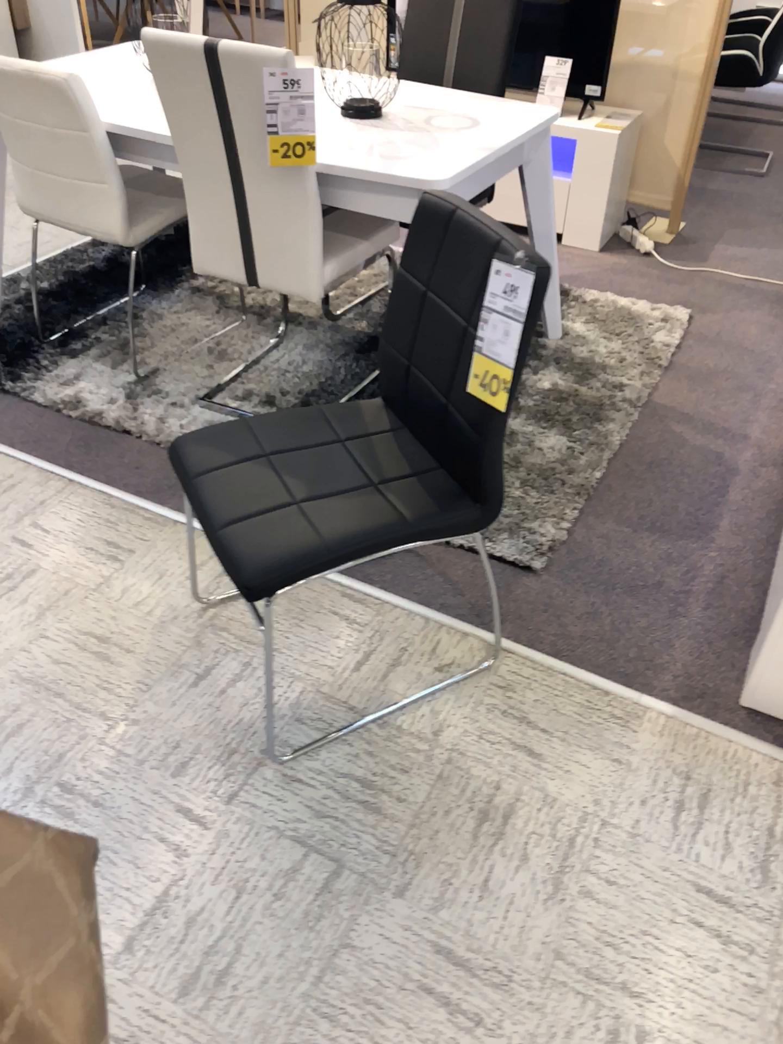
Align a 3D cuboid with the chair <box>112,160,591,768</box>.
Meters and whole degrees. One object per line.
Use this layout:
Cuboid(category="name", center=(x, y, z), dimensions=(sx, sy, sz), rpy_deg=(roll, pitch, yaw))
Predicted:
Cuboid(category="chair", center=(-0.089, -0.115, 1.524), dimensions=(0.537, 0.825, 0.521), rpy_deg=(-18, 42, -23))
